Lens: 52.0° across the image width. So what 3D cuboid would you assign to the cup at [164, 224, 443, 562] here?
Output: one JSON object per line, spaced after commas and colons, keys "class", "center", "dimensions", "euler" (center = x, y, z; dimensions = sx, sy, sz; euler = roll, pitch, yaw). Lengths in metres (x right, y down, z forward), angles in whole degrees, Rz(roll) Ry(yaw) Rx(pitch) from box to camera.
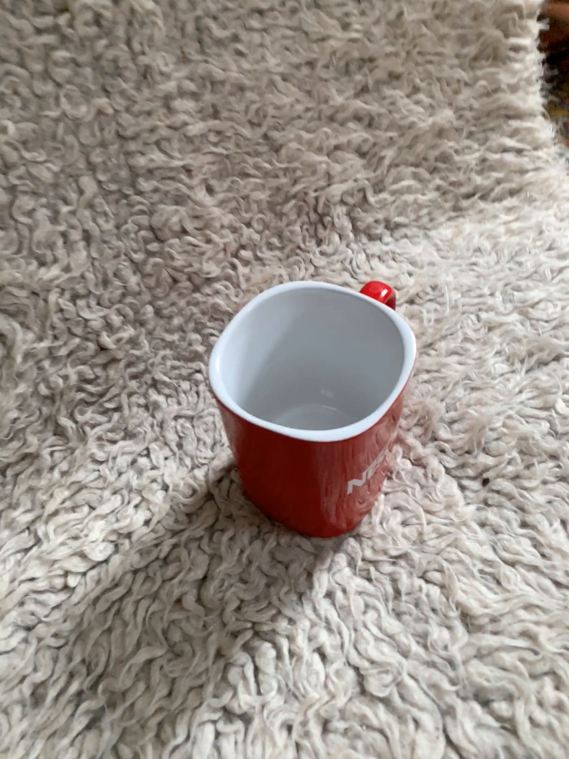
{"class": "cup", "center": [0.016, 0.007, 0.316], "dimensions": [0.088, 0.110, 0.122], "euler": [19, 57, 18]}
